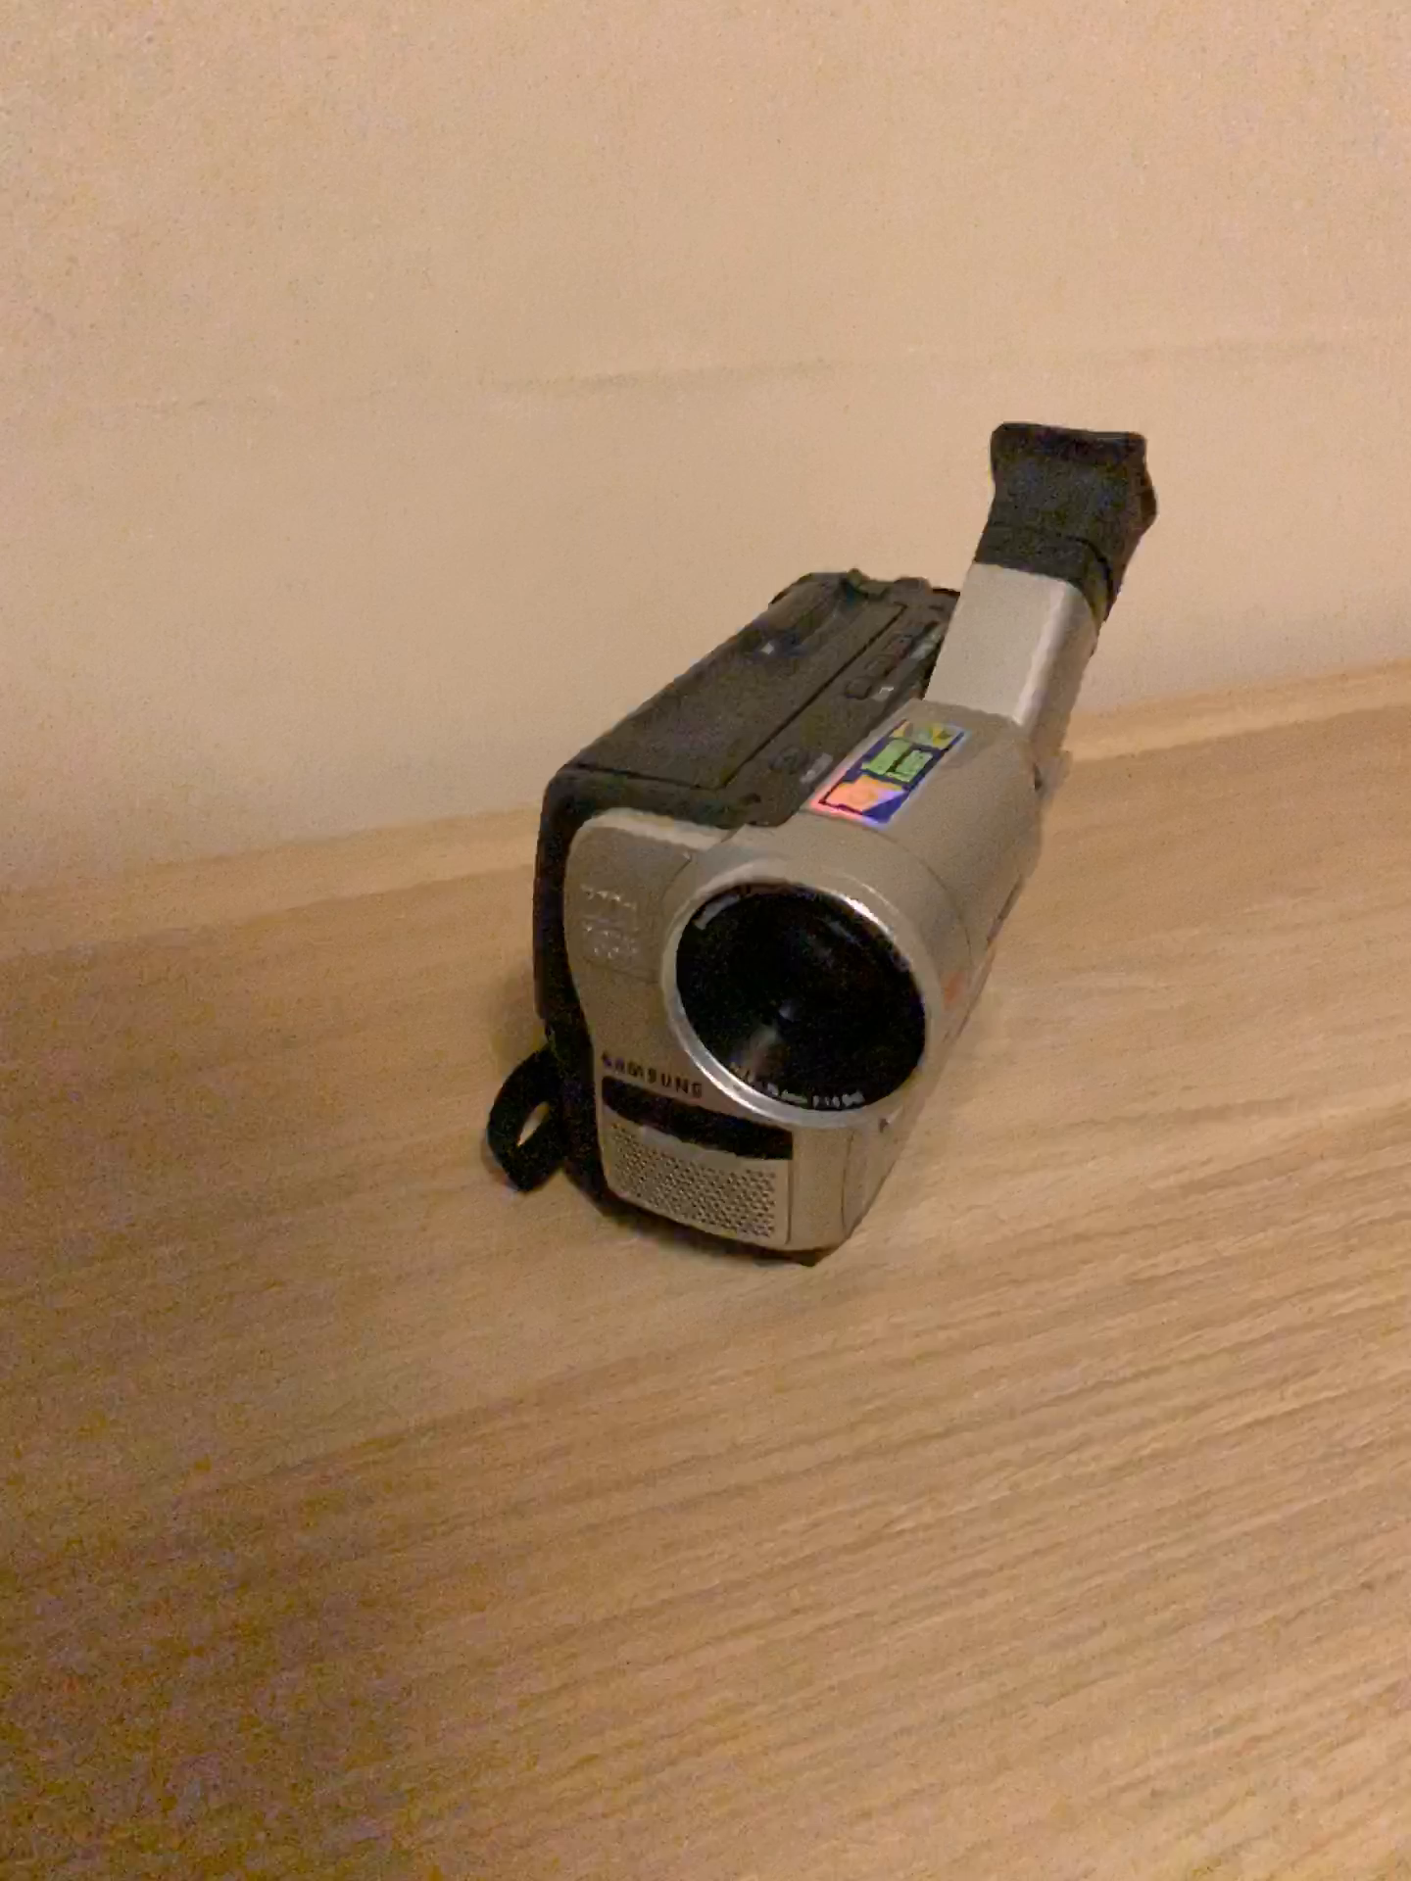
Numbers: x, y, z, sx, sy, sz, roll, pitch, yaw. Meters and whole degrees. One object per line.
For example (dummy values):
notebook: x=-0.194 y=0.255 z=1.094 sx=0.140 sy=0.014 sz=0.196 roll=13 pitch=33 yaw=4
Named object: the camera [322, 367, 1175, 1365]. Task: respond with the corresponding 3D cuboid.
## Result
camera: x=0.025 y=-0.038 z=0.317 sx=0.106 sy=0.133 sz=0.193 roll=12 pitch=31 yaw=19
